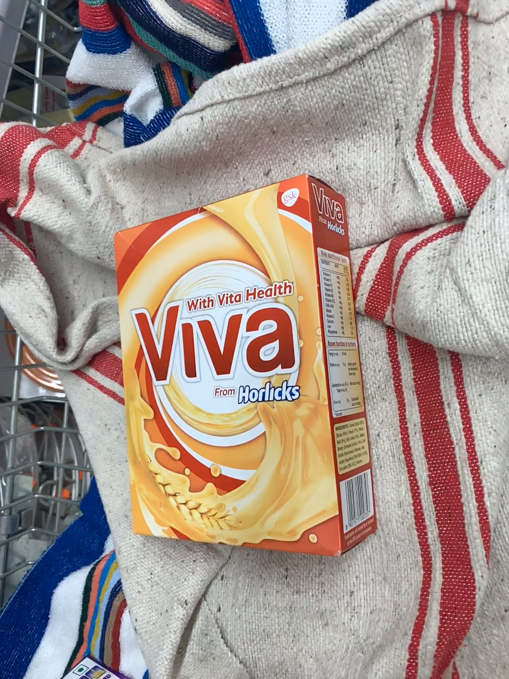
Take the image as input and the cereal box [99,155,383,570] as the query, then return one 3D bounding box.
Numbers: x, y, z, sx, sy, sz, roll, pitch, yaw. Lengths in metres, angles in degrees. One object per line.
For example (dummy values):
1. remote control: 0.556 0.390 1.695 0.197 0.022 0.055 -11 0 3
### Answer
1. cereal box: -0.011 0.017 0.317 0.141 0.070 0.200 -7 85 29
